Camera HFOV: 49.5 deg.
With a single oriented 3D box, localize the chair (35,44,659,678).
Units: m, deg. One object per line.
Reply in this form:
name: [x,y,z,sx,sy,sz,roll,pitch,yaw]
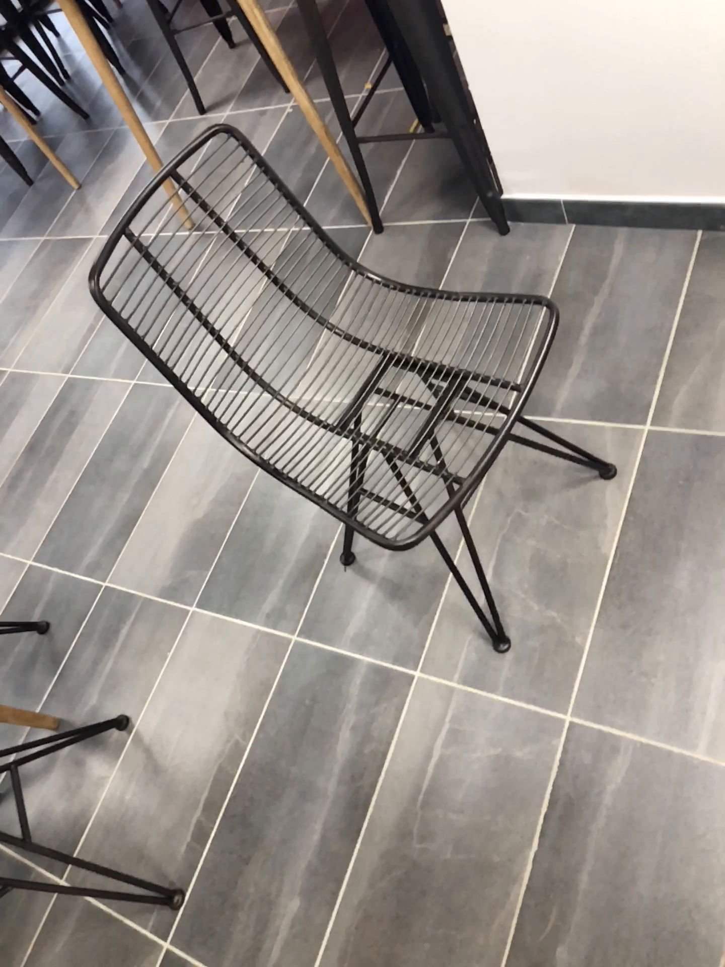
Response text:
chair: [0.058,-0.153,1.234,0.521,0.788,0.501,25,74,36]
